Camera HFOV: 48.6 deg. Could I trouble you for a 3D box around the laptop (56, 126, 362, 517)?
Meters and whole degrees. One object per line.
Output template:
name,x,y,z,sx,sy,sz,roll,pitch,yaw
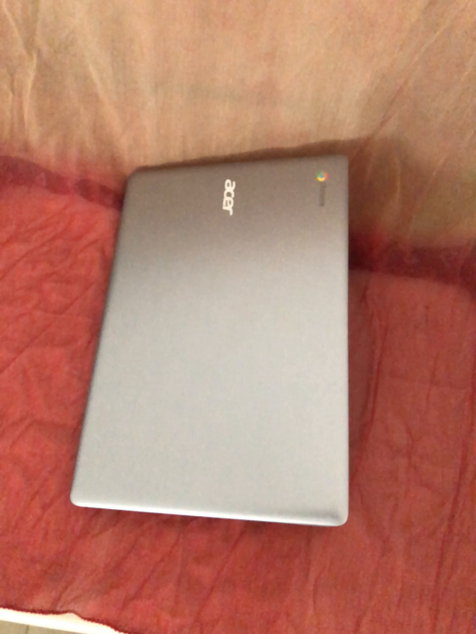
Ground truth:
laptop,-0.010,-0.007,0.463,0.219,0.066,0.322,4,69,1
